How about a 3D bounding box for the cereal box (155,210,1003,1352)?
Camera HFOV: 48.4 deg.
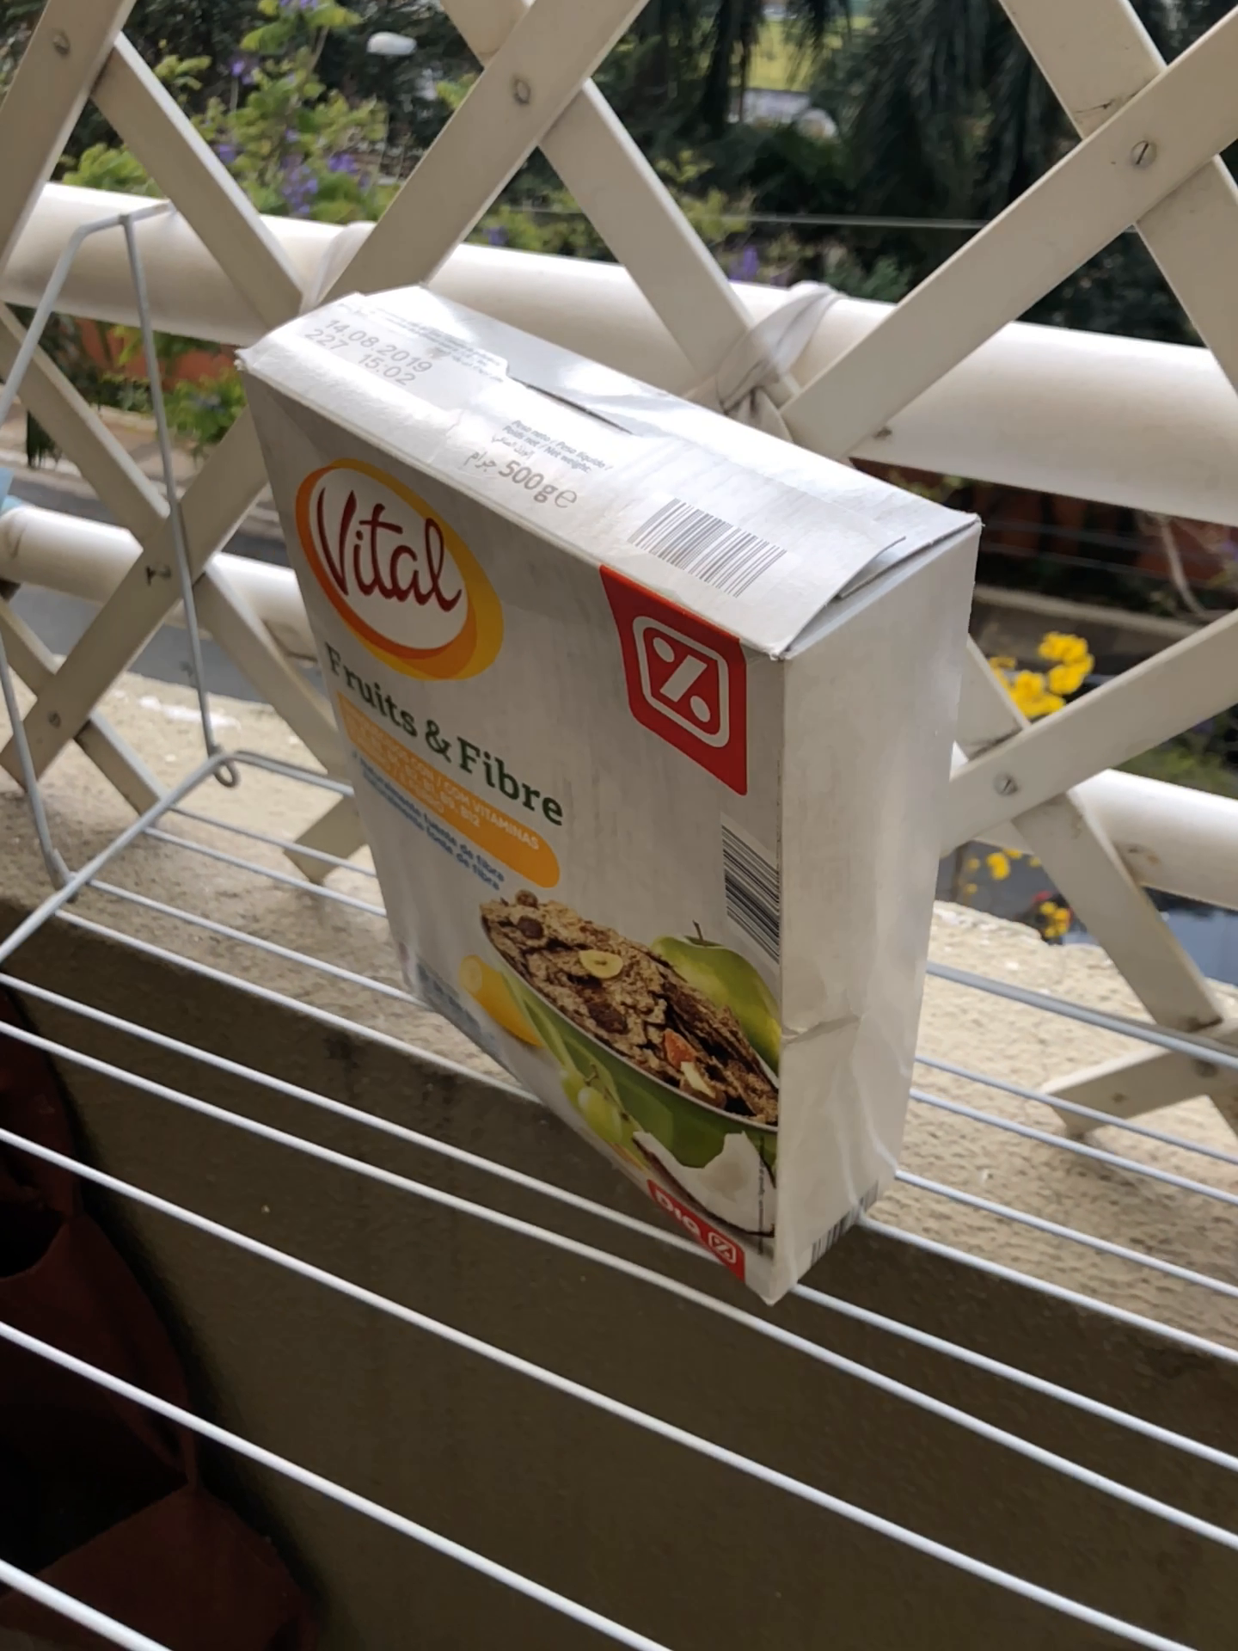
[{"bbox_3d":[-0.012,-0.007,0.399,0.070,0.268,0.211,-34,50,-27],"label":"cereal box"}]
